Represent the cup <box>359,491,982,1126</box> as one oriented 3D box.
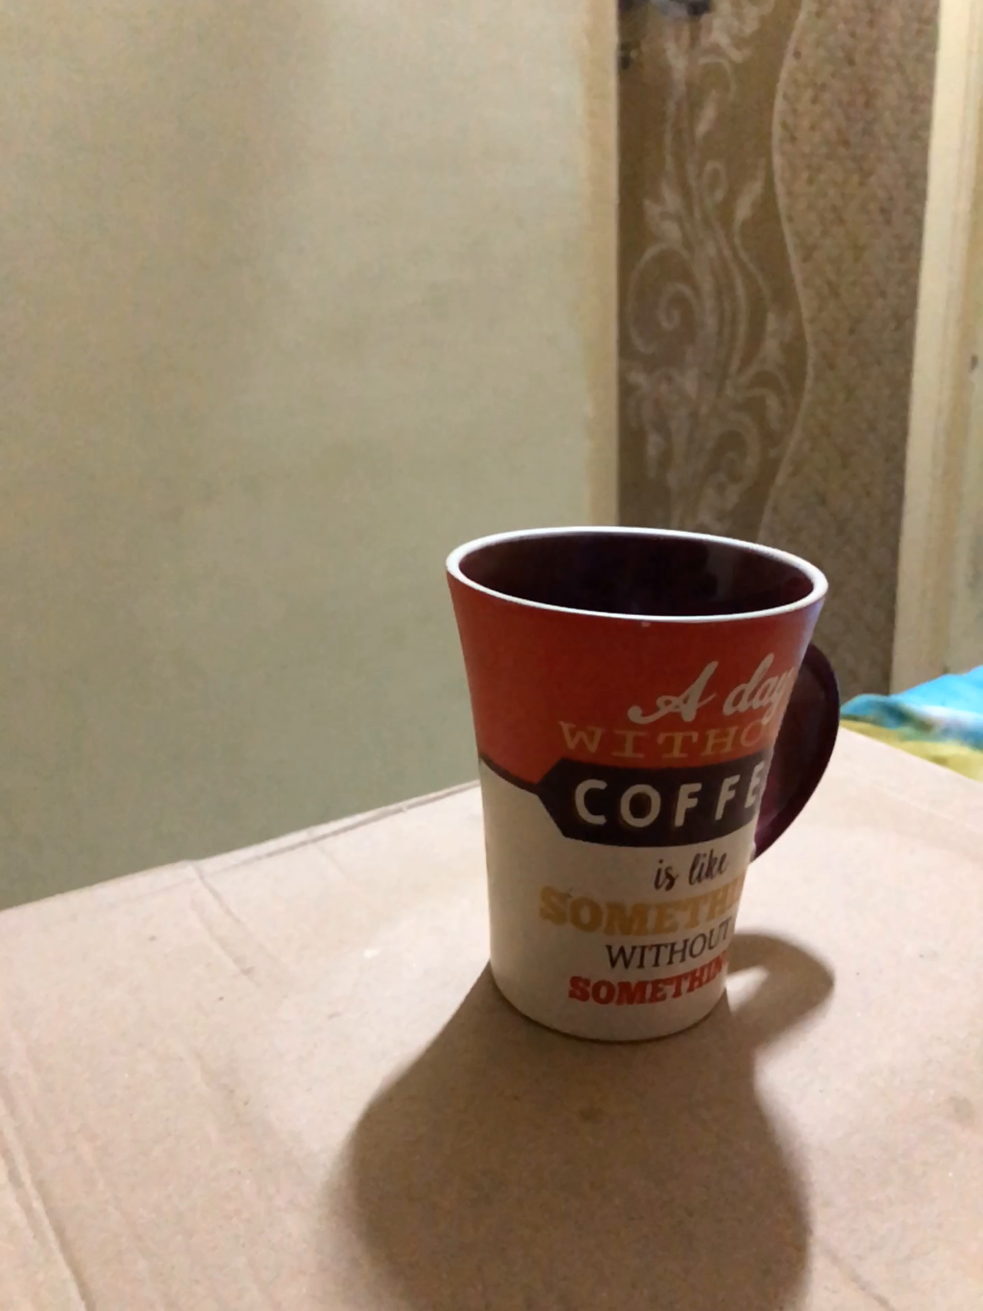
[{"bbox_3d":[0.049,0.024,0.291,0.130,0.110,0.100,-12,19,-30],"label":"cup"}]
